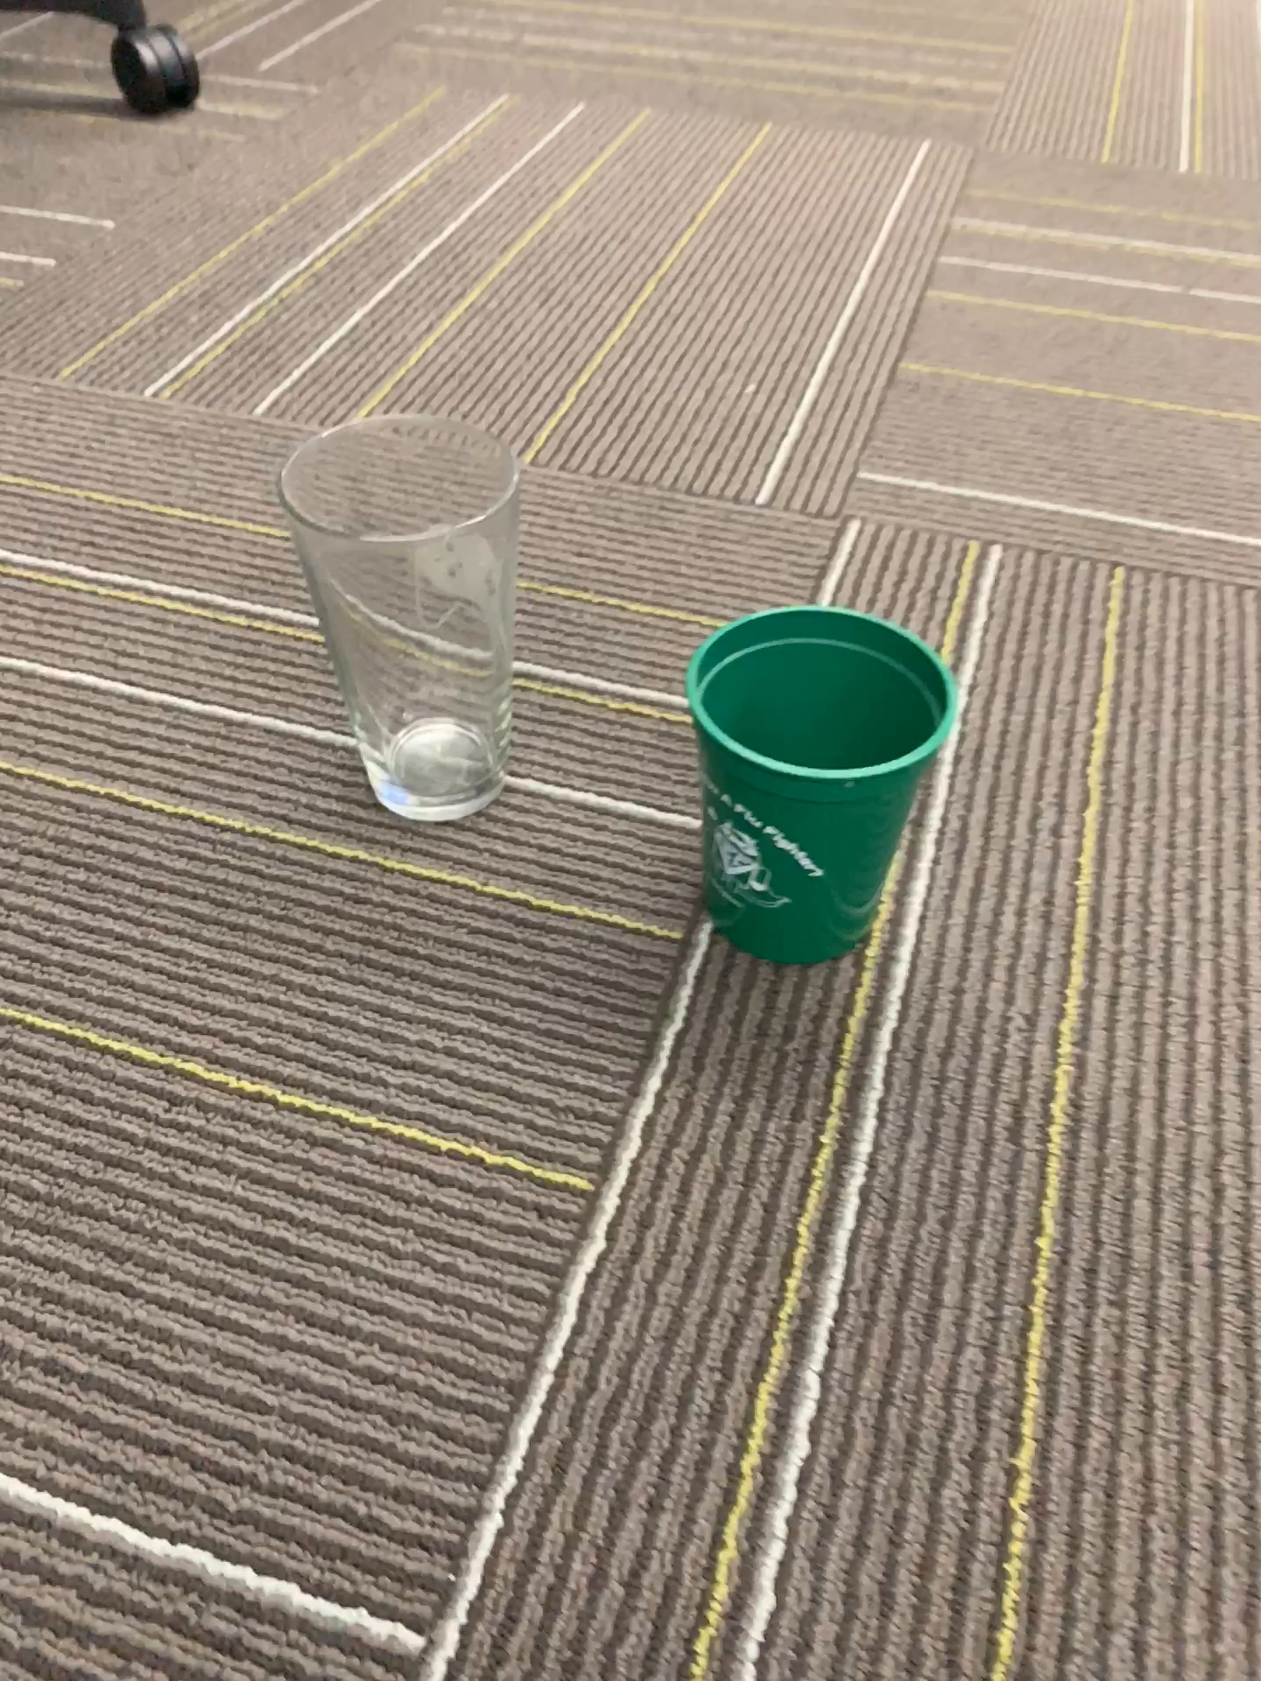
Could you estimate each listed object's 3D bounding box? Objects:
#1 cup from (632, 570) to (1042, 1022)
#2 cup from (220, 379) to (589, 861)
[{"bbox_3d":[0.070,-0.019,0.488,0.100,0.099,0.100,0,46,0],"label":"cup"},{"bbox_3d":[-0.081,-0.086,0.514,0.090,0.139,0.090,0,46,0],"label":"cup"}]
